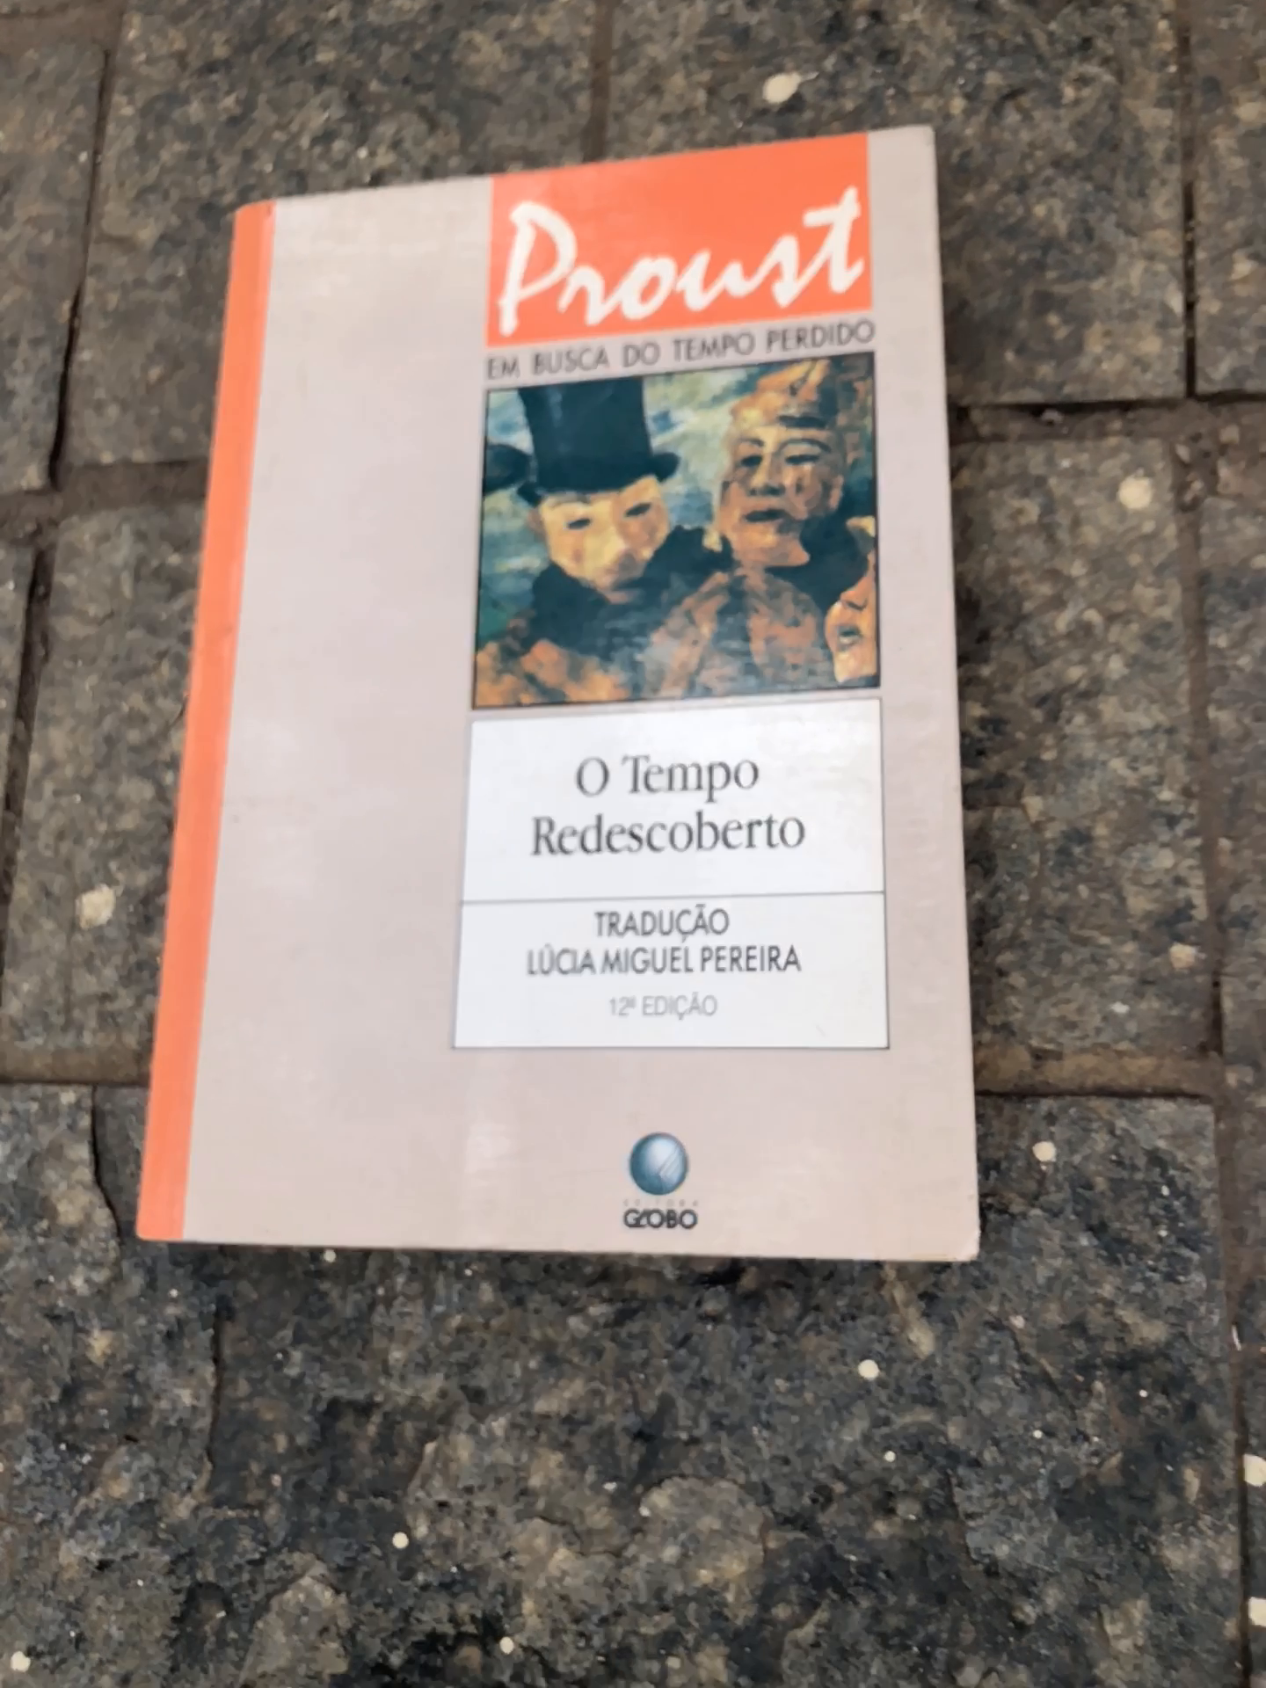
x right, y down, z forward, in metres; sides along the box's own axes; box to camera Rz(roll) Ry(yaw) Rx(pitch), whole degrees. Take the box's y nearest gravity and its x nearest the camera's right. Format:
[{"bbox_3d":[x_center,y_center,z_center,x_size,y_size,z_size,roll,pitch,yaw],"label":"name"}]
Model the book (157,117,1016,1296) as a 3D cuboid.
[{"bbox_3d":[-0.007,-0.027,0.251,0.134,0.023,0.199,-2,76,10],"label":"book"}]
